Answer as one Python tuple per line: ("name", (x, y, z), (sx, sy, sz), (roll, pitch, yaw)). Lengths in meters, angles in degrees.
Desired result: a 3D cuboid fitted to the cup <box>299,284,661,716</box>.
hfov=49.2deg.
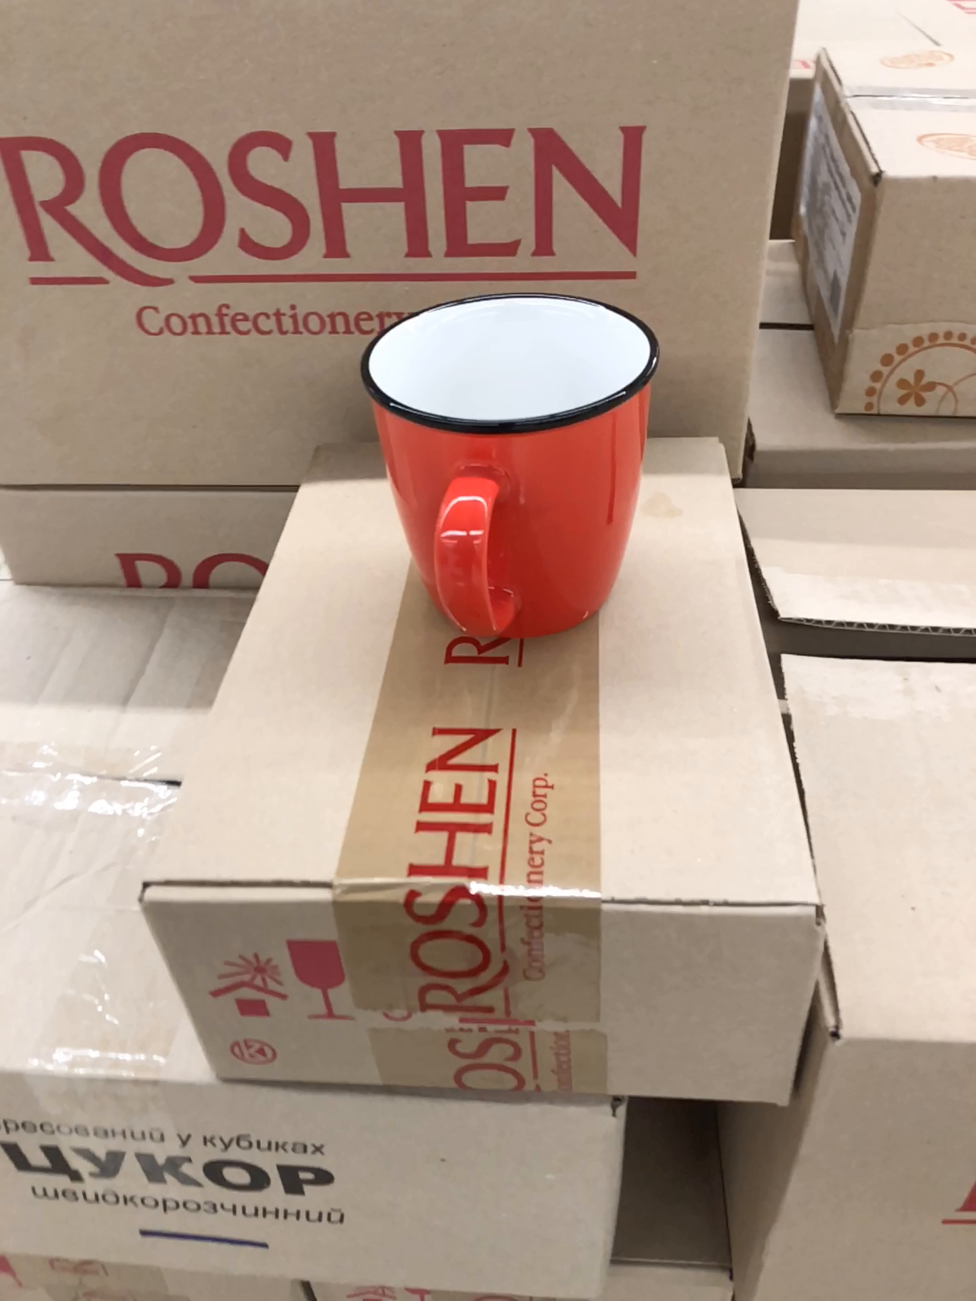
("cup", (0.006, -0.058, 0.369), (0.096, 0.089, 0.127), (4, 40, 8))
